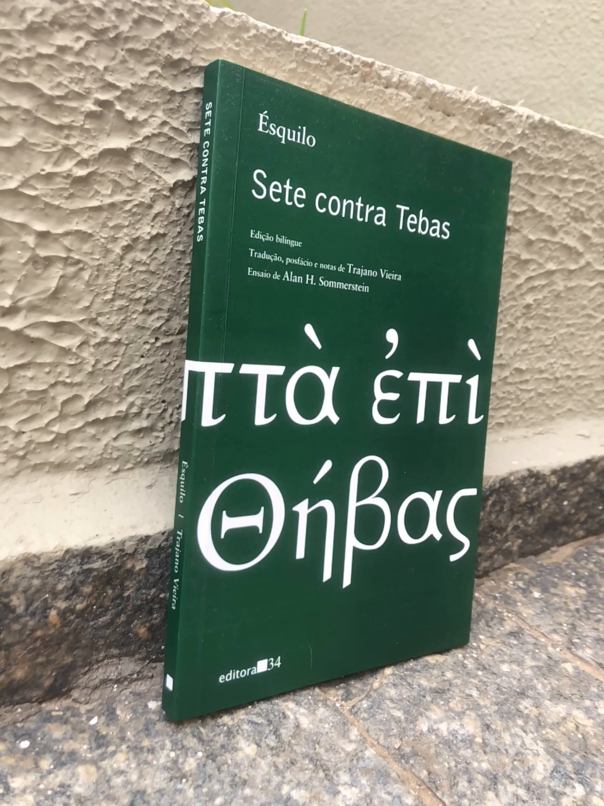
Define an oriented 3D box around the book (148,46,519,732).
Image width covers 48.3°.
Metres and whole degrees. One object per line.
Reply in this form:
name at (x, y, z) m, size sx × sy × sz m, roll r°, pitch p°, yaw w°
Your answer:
book at (0.018, -0.003, 0.239) m, size 0.140 × 0.196 × 0.020 m, roll -1°, pitch 3°, yaw -32°
